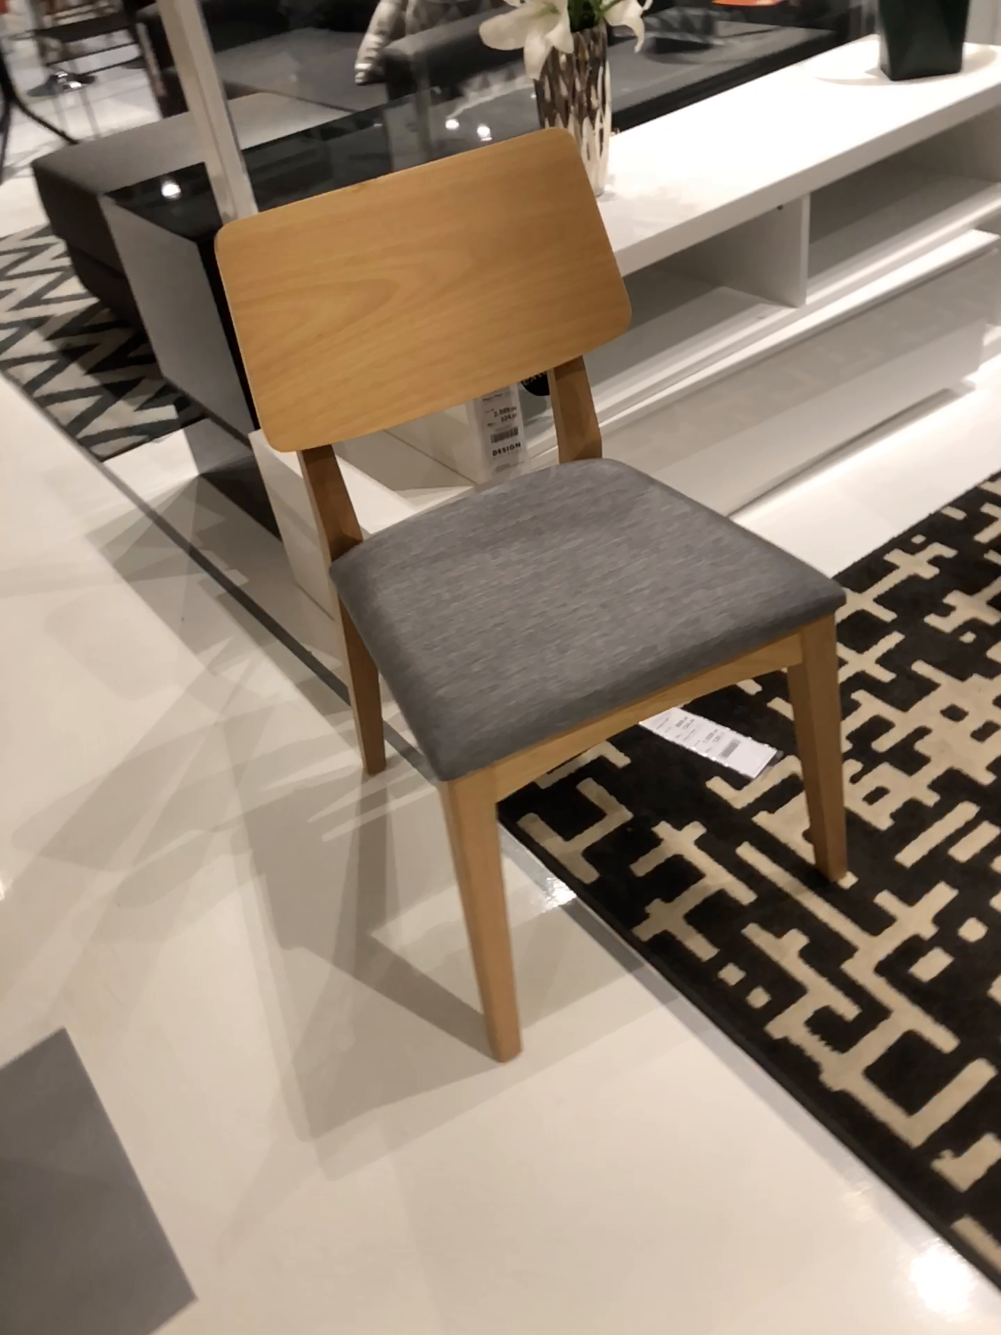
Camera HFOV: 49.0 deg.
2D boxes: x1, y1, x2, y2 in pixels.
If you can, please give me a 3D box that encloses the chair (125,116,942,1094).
[{"bbox_3d":[0.034,-0.088,1.253,0.541,0.794,0.584,-23,41,-16],"label":"chair"}]
